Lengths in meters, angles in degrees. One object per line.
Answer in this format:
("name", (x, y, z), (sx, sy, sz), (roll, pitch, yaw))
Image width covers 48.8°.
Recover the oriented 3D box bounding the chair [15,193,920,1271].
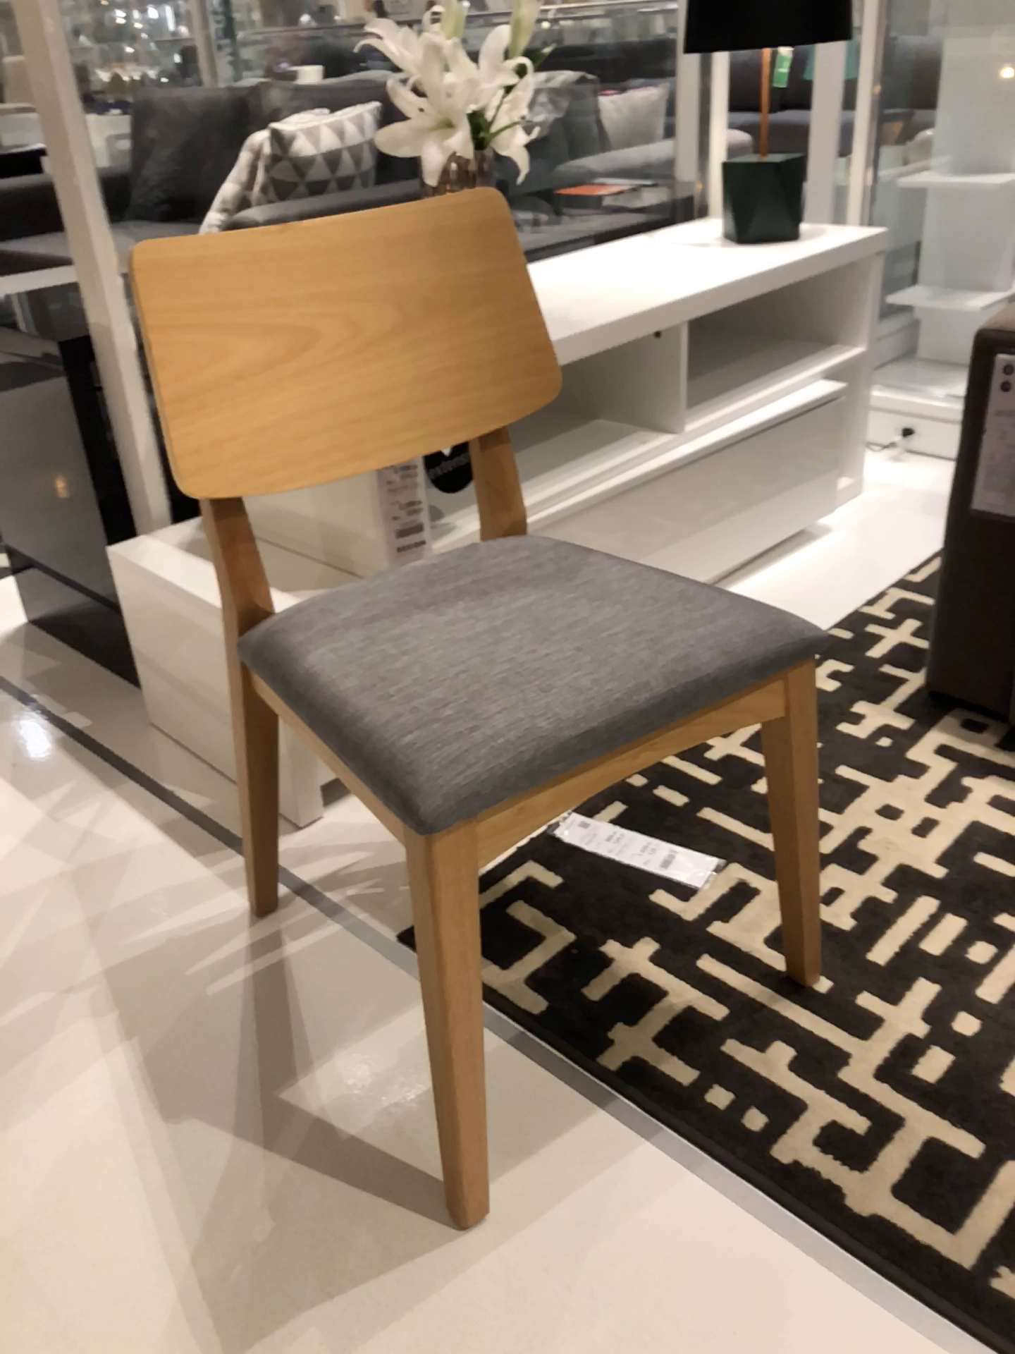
("chair", (-0.042, -0.019, 1.145), (0.541, 0.794, 0.583), (-22, 34, -30))
